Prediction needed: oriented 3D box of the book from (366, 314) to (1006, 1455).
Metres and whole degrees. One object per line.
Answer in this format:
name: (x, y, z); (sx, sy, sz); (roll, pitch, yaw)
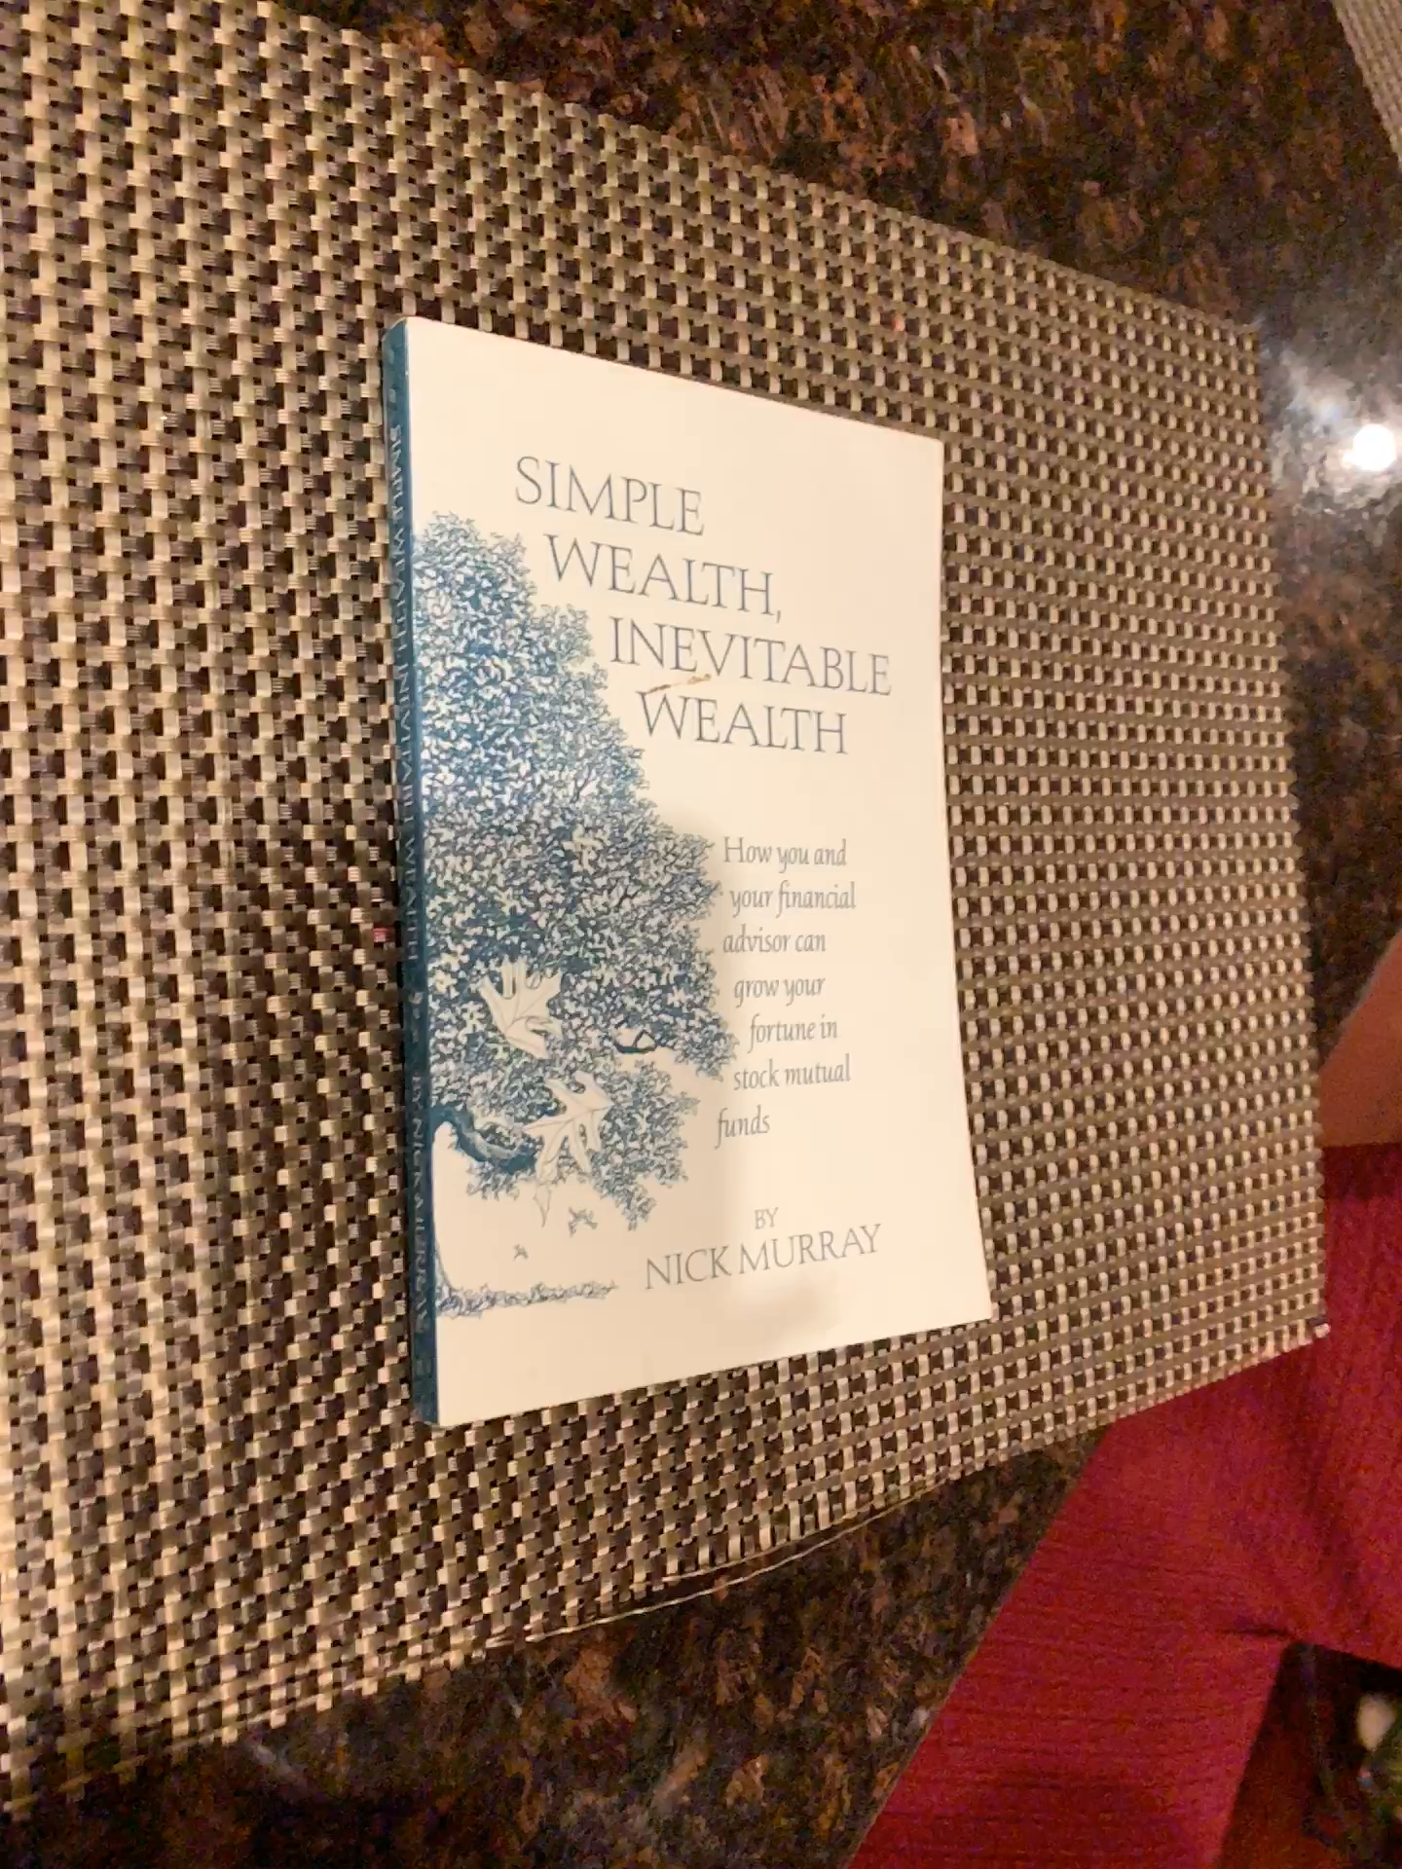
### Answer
book: (0.003, -0.011, 0.313); (0.141, 0.021, 0.210); (-2, 89, -33)
